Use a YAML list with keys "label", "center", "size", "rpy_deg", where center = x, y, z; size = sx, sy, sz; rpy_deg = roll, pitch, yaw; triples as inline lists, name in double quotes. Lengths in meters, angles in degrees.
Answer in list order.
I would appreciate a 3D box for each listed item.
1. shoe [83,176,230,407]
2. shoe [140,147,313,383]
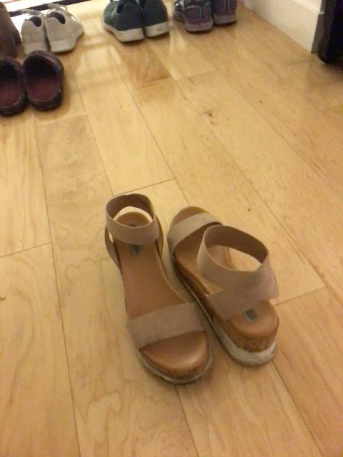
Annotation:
- label: "shoe"
  center: [-0.026, 0.071, 0.493]
  size: [0.100, 0.139, 0.251]
  rpy_deg: [-19, 49, -10]
- label: "shoe"
  center: [0.055, 0.034, 0.521]
  size: [0.100, 0.139, 0.292]
  rpy_deg: [-18, 48, -10]
